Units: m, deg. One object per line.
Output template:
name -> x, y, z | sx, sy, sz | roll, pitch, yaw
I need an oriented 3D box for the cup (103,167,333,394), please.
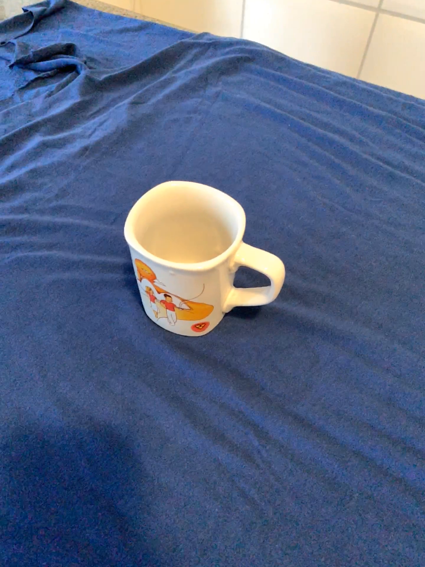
cup -> 0.003, -0.002, 0.282 | 0.110, 0.090, 0.070 | 23, 54, 15
